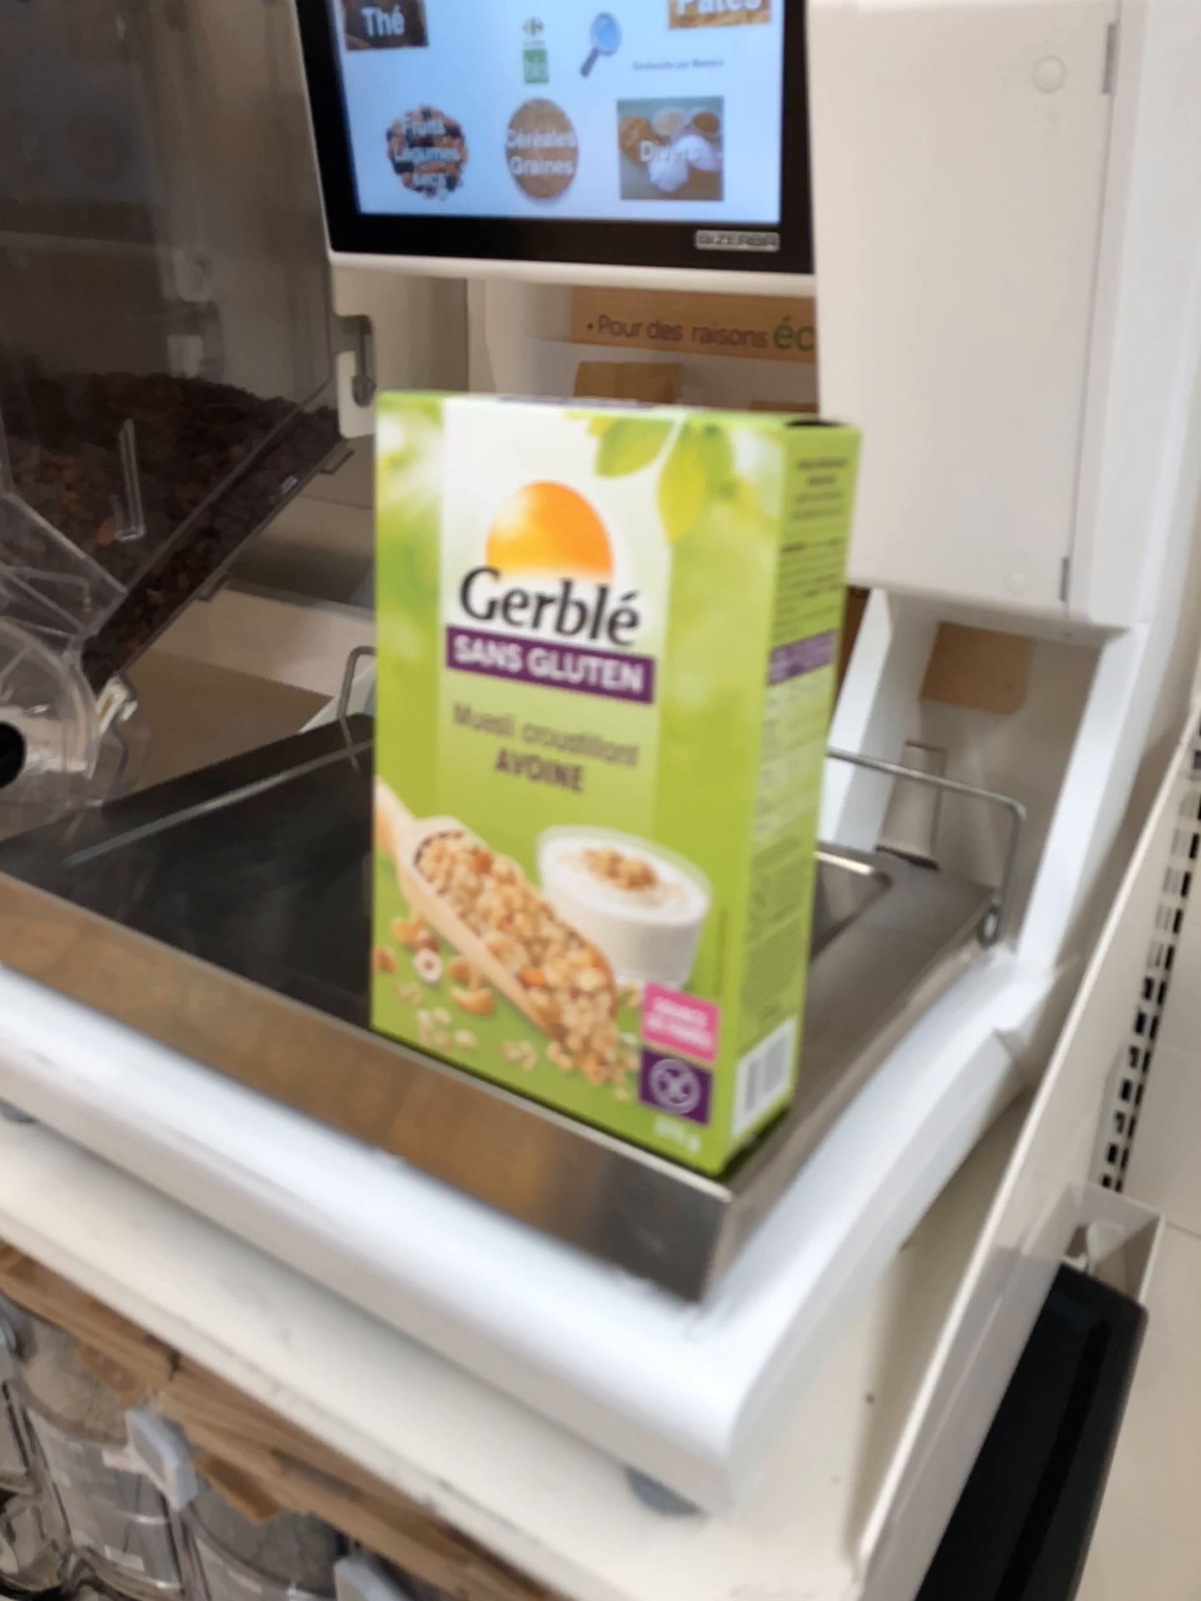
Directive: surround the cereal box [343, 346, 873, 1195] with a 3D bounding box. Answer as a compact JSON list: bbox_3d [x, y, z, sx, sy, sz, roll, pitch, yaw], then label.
[{"bbox_3d":[-0.007,-0.017,0.401,0.150,0.229,0.050,14,20,33],"label":"cereal box"}]
